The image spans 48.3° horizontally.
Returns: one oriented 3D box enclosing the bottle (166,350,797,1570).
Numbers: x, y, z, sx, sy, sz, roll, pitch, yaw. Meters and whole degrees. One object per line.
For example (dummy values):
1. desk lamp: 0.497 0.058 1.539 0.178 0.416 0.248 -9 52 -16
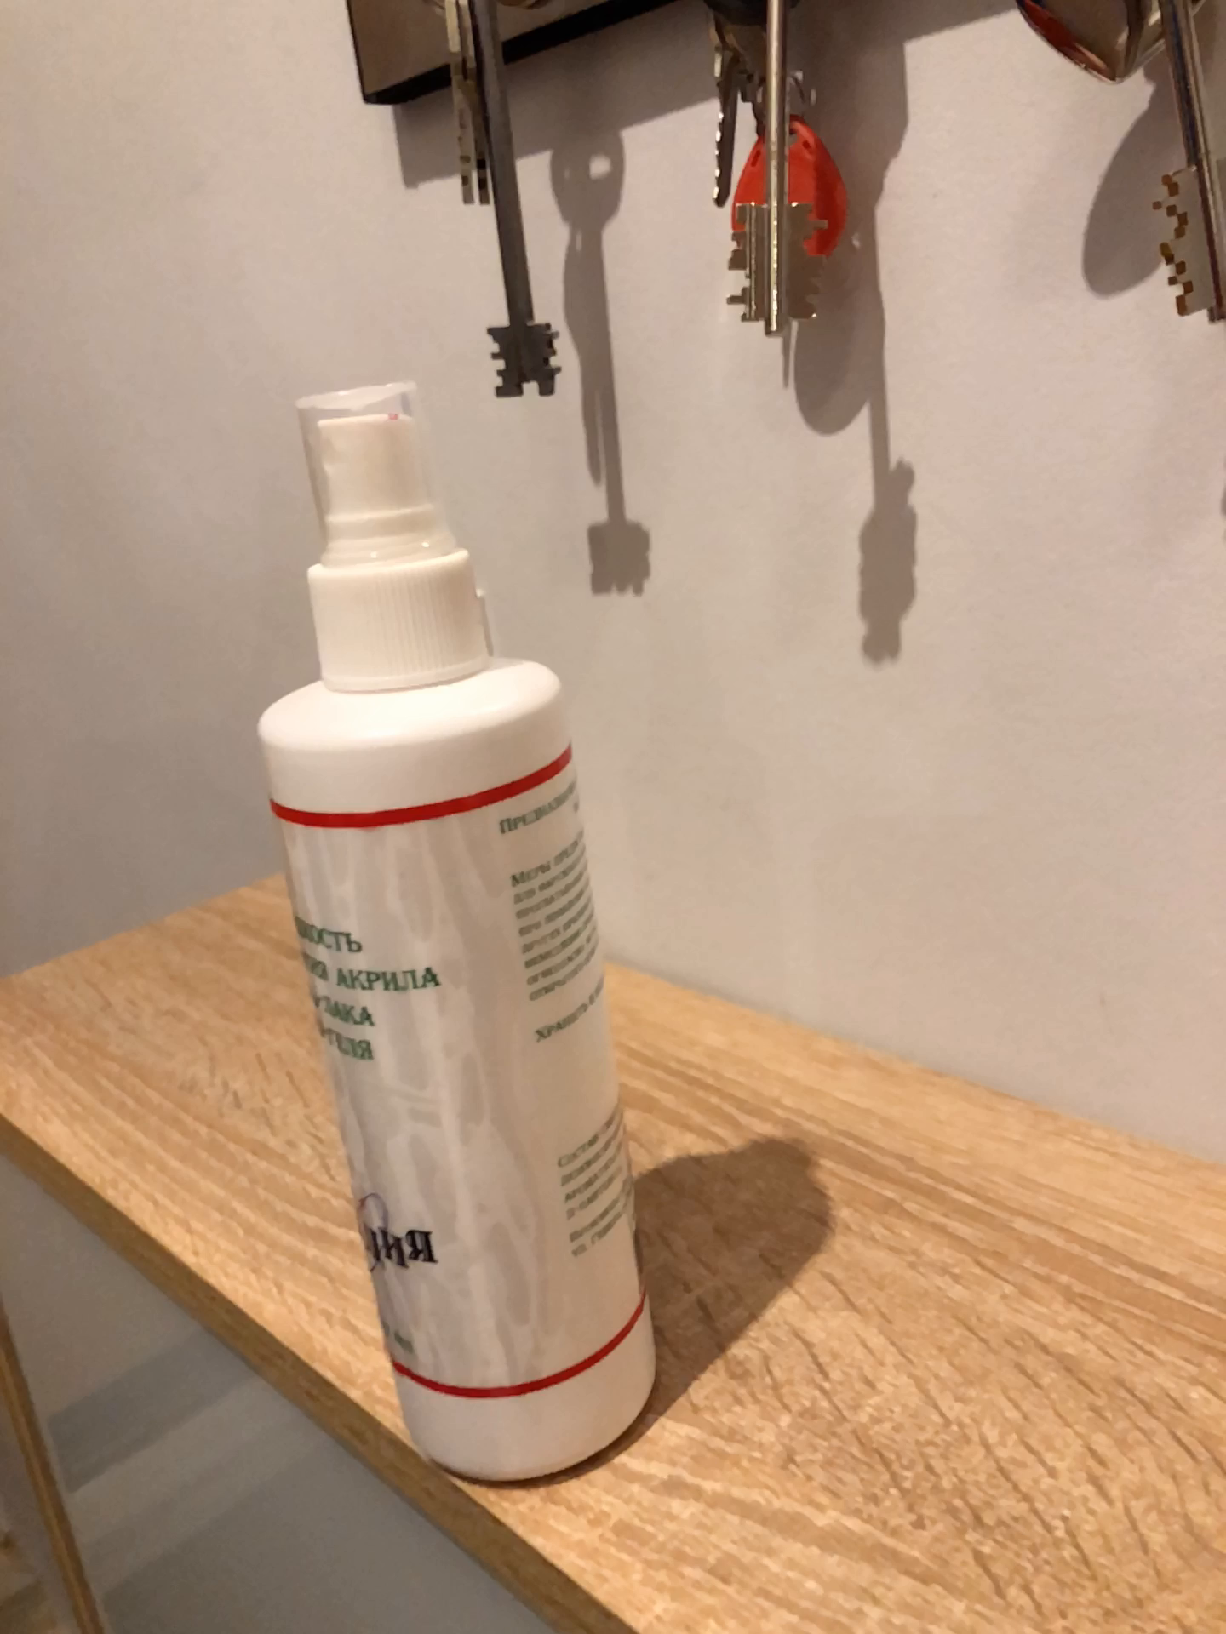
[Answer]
1. bottle: -0.017 0.022 0.232 0.059 0.183 0.056 -7 17 2
